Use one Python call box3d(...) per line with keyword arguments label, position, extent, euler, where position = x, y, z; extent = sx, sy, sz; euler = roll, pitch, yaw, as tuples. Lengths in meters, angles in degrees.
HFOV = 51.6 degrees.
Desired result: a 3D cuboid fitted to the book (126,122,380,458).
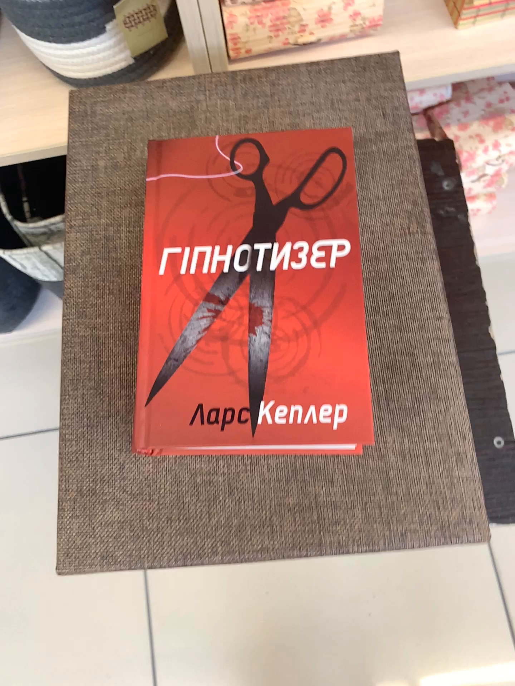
box3d(label="book", position=(-0.002, -0.031, 0.326), extent=(0.132, 0.050, 0.195), euler=(-2, 74, 4))
